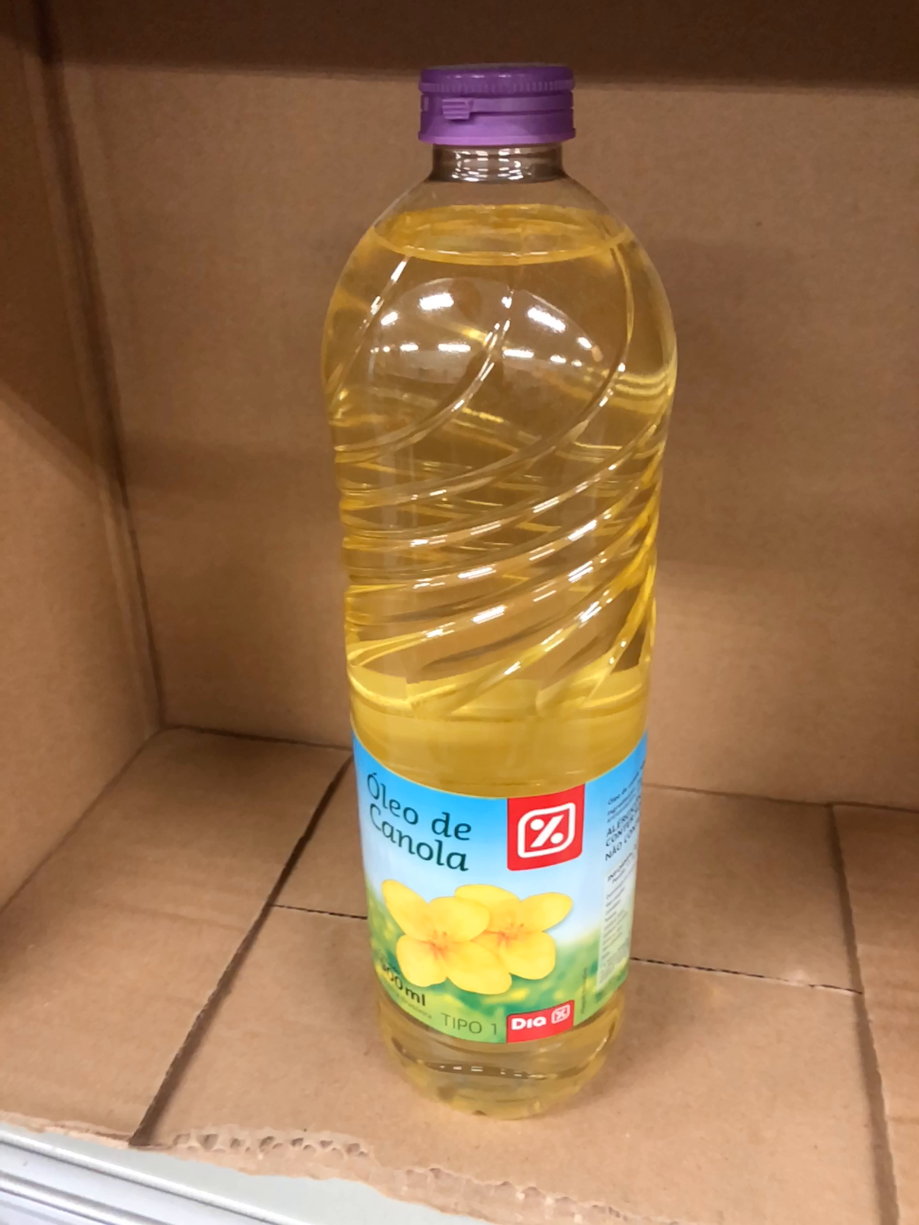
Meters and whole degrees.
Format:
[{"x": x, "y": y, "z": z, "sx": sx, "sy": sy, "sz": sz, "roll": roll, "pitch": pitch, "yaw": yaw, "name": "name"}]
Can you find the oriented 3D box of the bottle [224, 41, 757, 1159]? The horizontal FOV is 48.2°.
[{"x": 0.010, "y": 0.020, "z": 0.242, "sx": 0.080, "sy": 0.268, "sz": 0.050, "roll": 6, "pitch": 32, "yaw": 11, "name": "bottle"}]
